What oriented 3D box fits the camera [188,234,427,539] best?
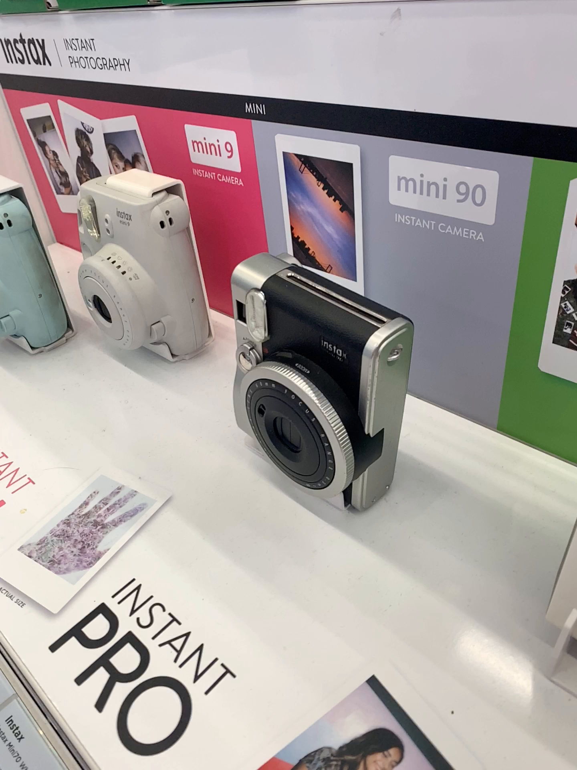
[{"bbox_3d":[0.008,-0.001,0.296,0.050,0.109,0.101,-31,47,-29],"label":"camera"}]
